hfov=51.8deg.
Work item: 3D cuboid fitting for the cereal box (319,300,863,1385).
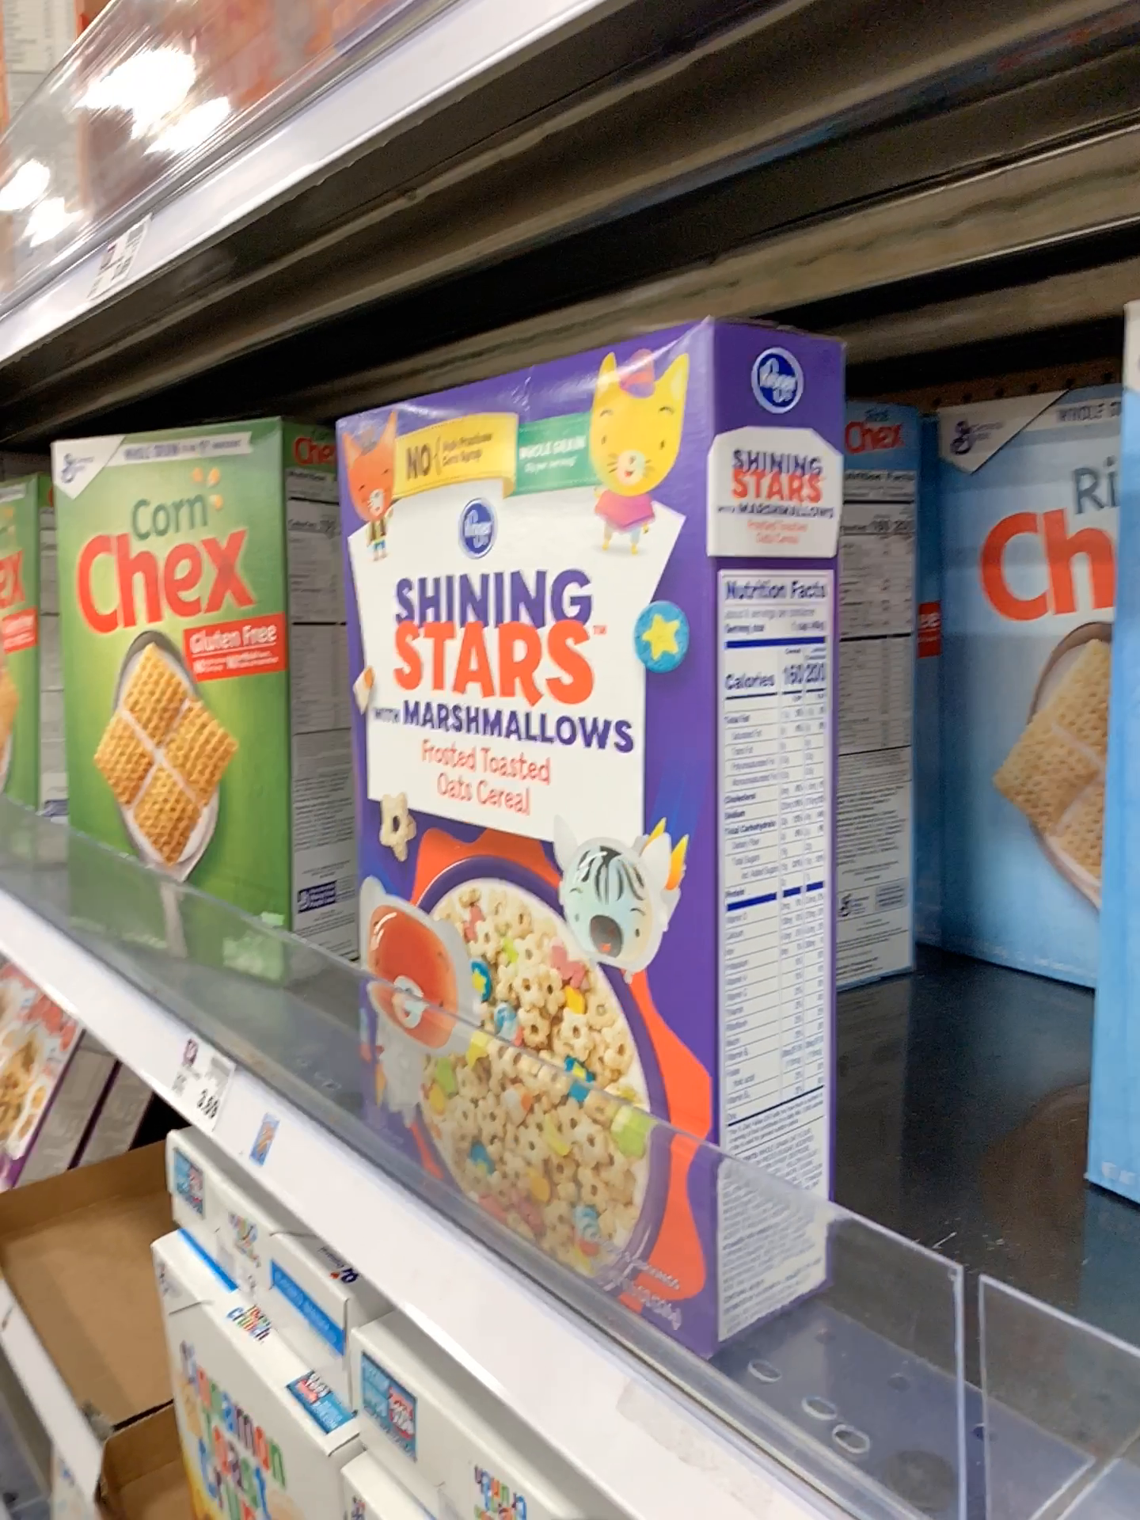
[{"bbox_3d":[-0.005,0.017,0.380,0.050,0.270,0.200,-6,8,-40],"label":"cereal box"}]
